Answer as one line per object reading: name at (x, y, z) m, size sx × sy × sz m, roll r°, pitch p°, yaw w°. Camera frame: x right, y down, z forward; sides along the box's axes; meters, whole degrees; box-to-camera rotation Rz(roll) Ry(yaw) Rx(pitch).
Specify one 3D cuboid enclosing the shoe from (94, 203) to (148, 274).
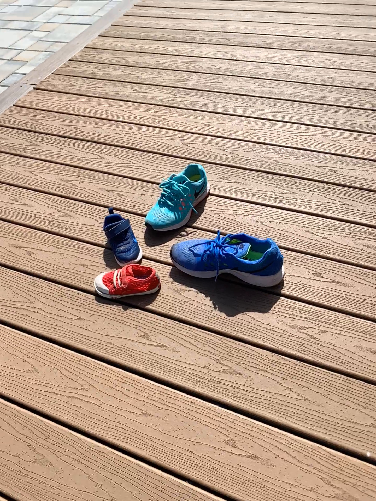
shoe at (-0.181, -0.036, 1.033) m, size 0.090 × 0.070 × 0.171 m, roll -20°, pitch 50°, yaw -11°

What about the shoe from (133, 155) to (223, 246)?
shoe at (-0.020, -0.154, 1.119) m, size 0.120 × 0.090 × 0.270 m, roll 25°, pitch 56°, yaw 25°

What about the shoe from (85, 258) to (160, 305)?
shoe at (-0.158, 0.077, 0.951) m, size 0.170 × 0.060 × 0.080 m, roll -6°, pitch 49°, yaw 1°

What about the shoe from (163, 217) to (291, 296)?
shoe at (0.097, 0.011, 0.963) m, size 0.290 × 0.090 × 0.120 m, roll 10°, pitch 51°, yaw 15°
